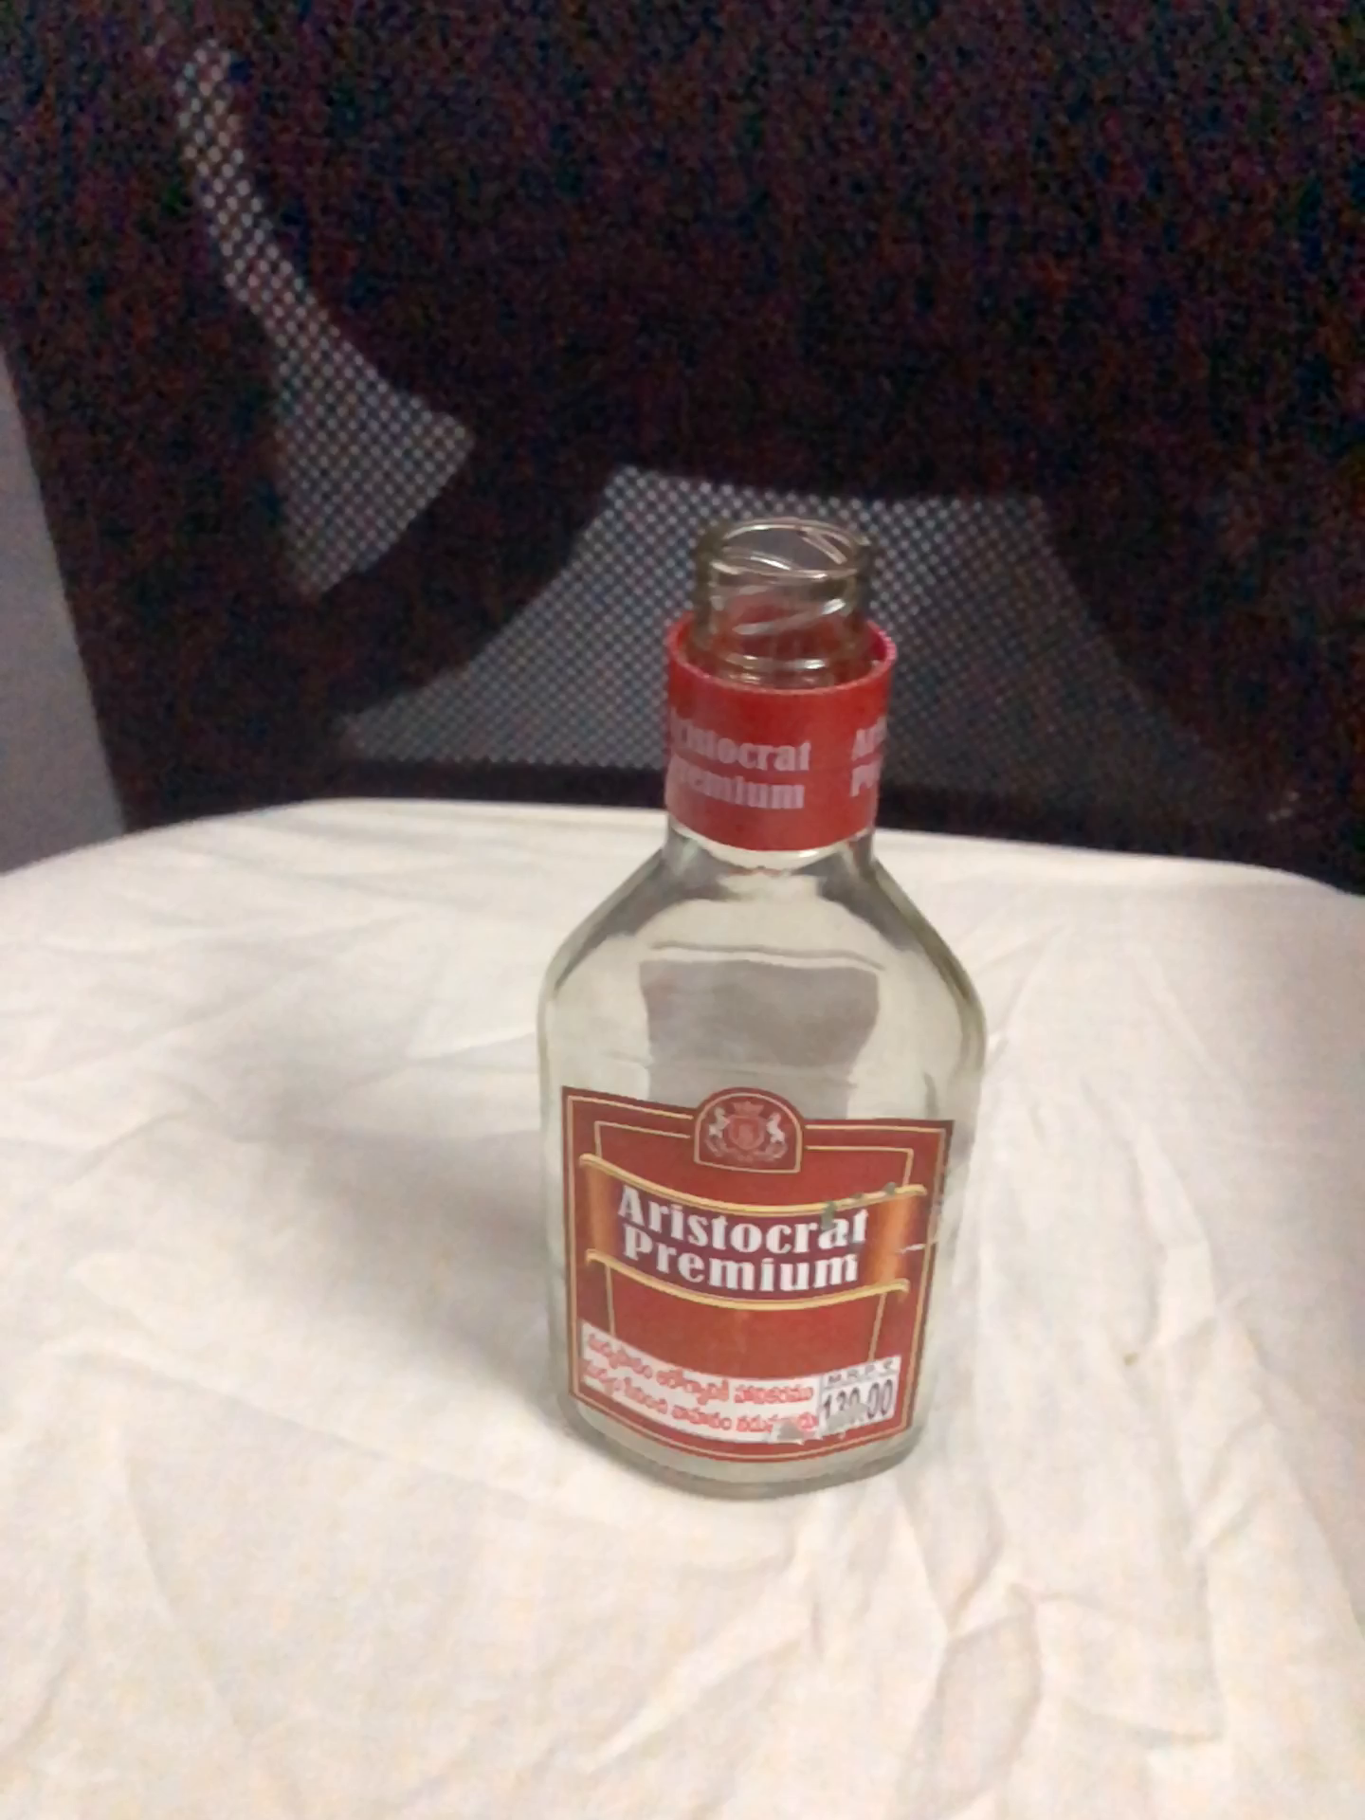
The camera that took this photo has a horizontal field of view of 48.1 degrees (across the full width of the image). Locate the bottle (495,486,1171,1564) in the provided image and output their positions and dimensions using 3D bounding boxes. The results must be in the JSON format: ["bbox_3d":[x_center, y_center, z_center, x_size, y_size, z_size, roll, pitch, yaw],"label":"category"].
[{"bbox_3d":[0.016,0.029,0.247,0.080,0.179,0.040,6,34,4],"label":"bottle"}]
